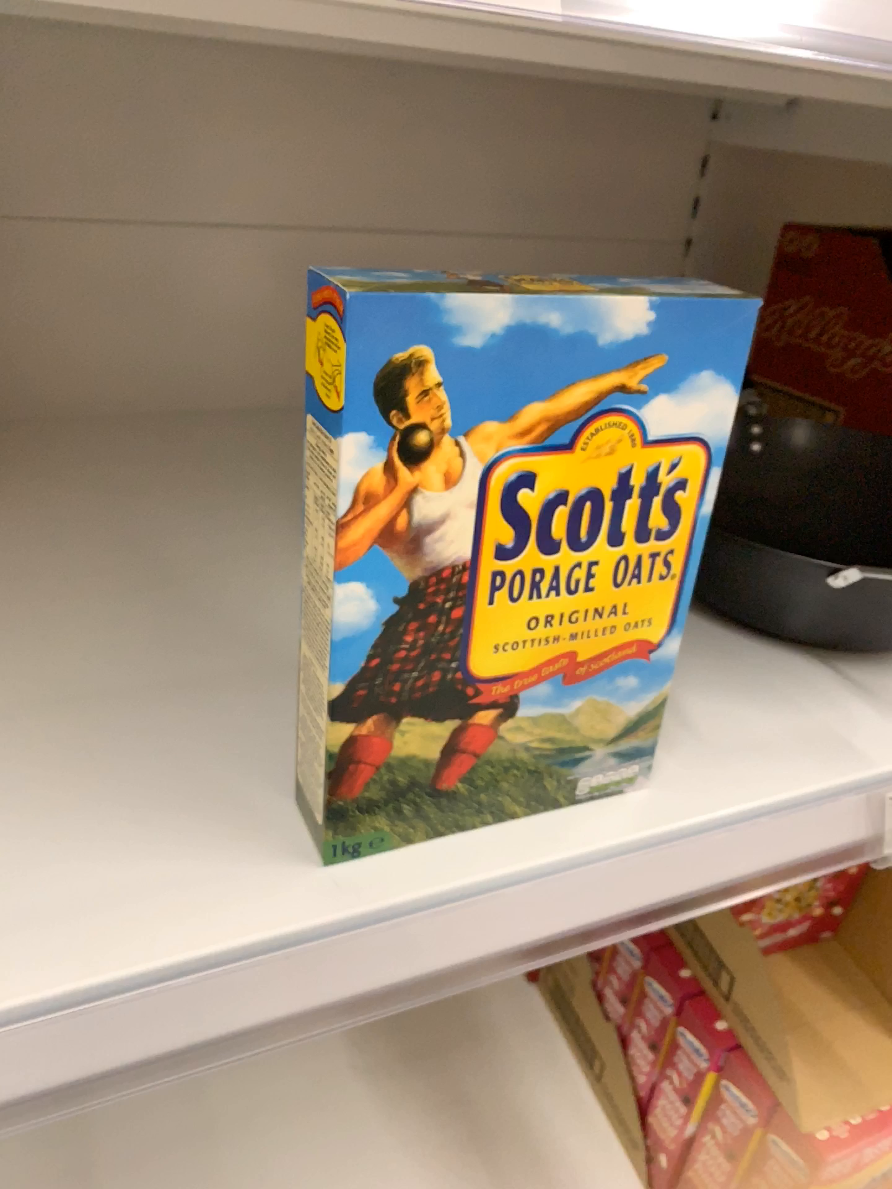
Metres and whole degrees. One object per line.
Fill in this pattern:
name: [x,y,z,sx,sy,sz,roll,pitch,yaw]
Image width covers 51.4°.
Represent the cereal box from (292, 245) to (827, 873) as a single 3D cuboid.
cereal box: [0.041,-0.016,0.444,0.210,0.268,0.070,-7,30,-24]
